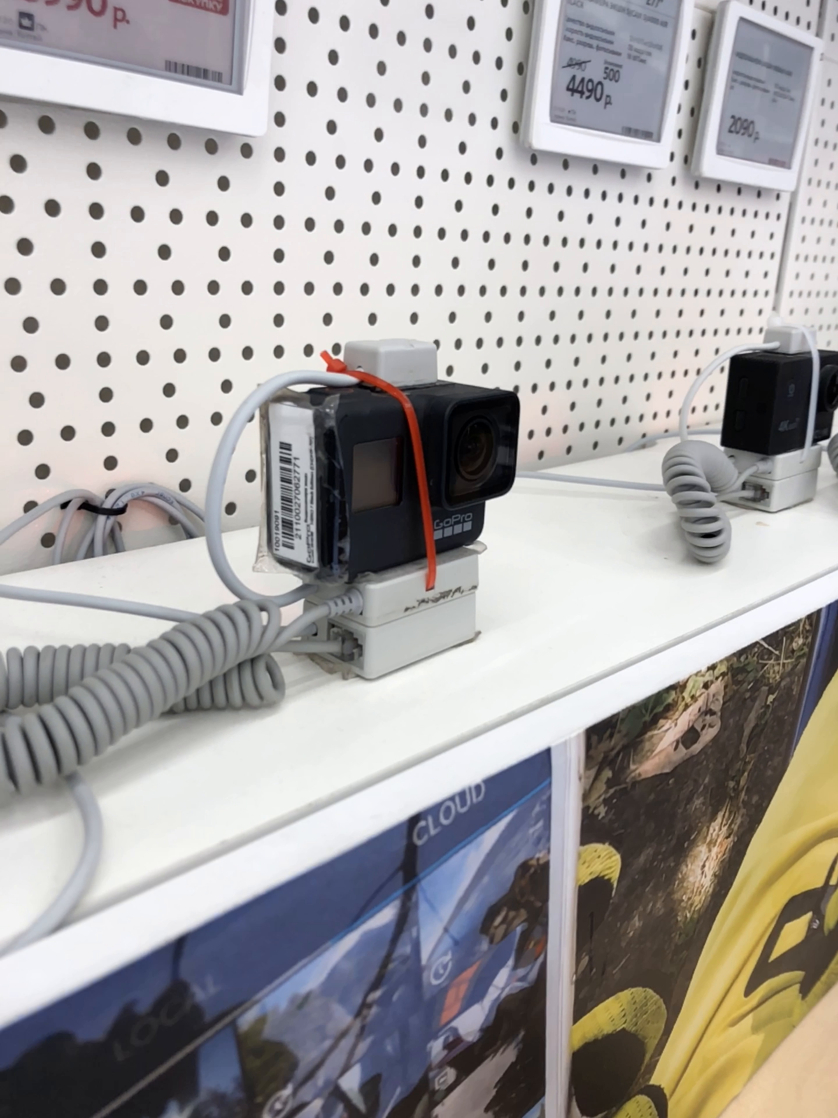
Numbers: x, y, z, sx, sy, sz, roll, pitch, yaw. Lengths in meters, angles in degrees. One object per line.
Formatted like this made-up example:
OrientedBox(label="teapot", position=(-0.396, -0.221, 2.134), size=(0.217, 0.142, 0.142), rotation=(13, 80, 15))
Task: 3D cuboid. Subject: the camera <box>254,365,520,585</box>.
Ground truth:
OrientedBox(label="camera", position=(-0.007, -0.025, 0.240), size=(0.029, 0.044, 0.067), rotation=(18, 23, 40))
